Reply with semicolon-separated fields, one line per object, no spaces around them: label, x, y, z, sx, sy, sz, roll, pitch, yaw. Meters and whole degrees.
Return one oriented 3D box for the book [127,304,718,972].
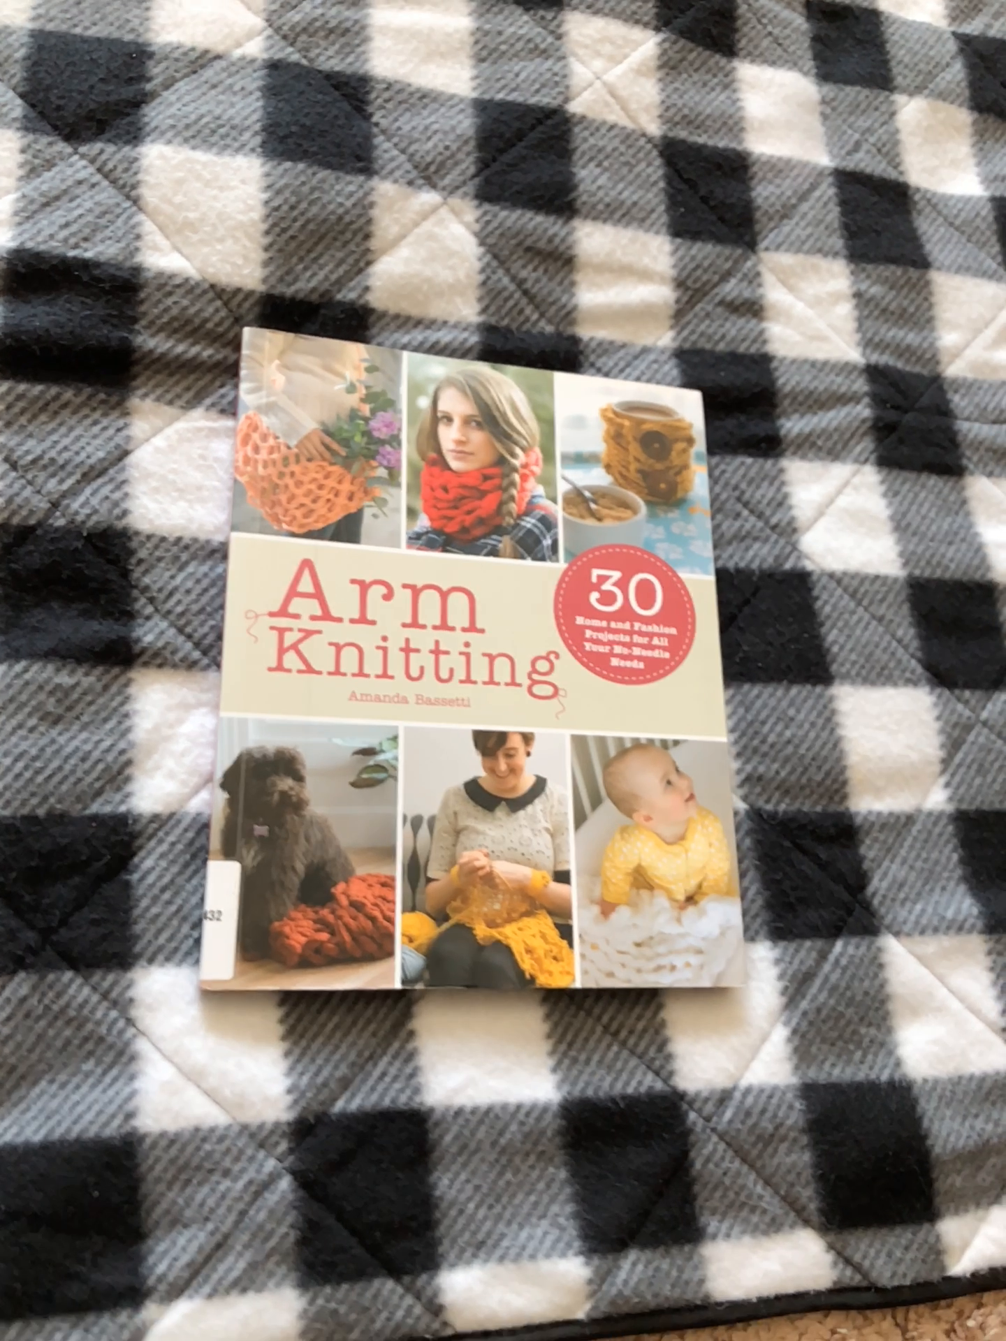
book;-0.023;-0.013;0.412;0.196;0.020;0.238;4;71;-14
